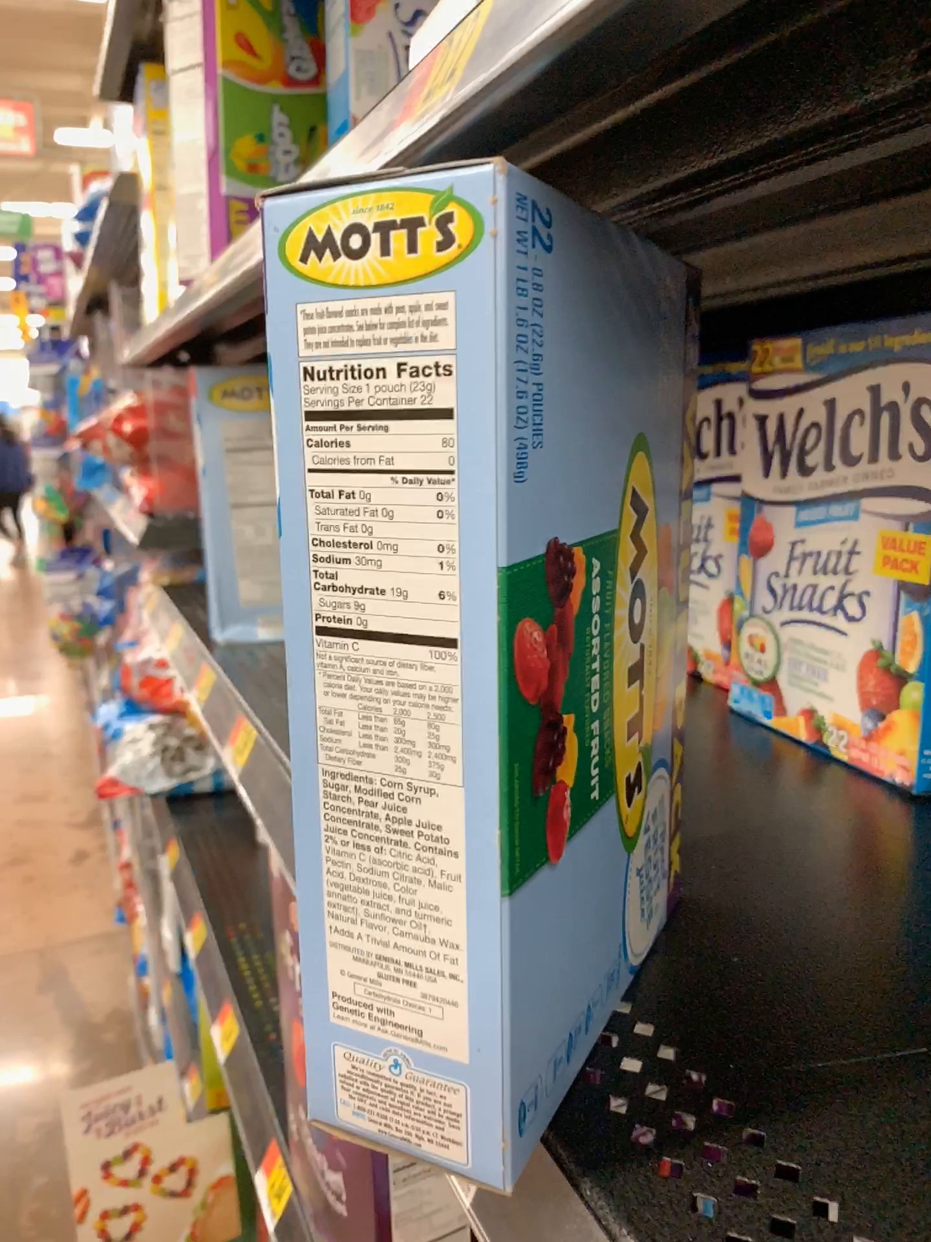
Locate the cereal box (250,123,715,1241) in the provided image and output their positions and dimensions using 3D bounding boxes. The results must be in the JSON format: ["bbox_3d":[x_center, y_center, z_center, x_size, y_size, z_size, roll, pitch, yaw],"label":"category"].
[{"bbox_3d":[0.023,0.007,0.292,0.060,0.239,0.180,4,13,25],"label":"cereal box"}]
